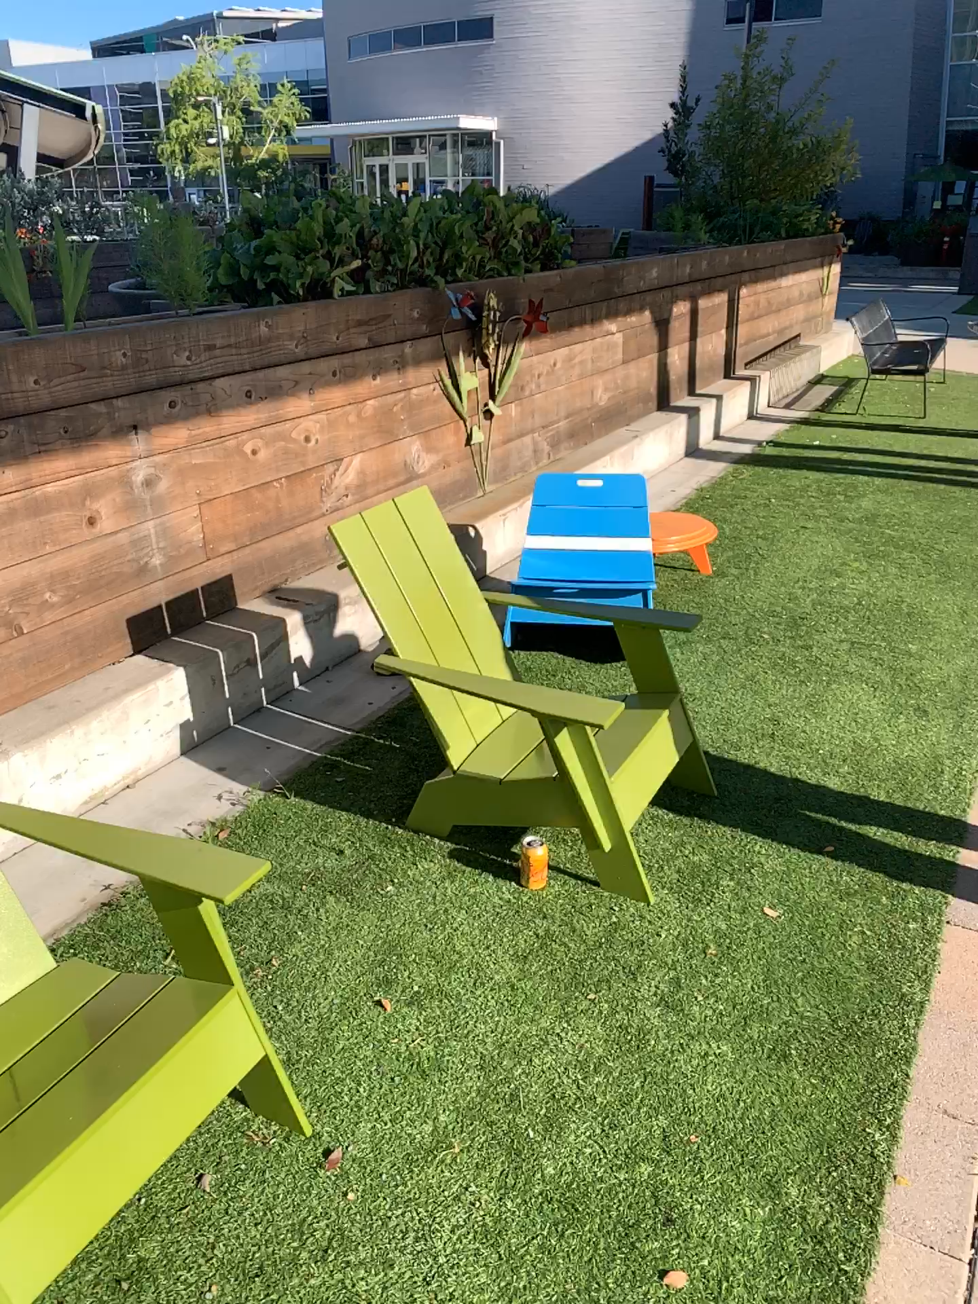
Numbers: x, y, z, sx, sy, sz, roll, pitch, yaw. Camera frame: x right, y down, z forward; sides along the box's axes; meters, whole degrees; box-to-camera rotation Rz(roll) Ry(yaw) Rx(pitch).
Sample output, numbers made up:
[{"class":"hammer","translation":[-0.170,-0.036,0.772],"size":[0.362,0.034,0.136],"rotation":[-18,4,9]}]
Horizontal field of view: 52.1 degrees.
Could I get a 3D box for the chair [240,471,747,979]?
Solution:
[{"class":"chair","translation":[0.038,0.100,2.721],"size":[1.002,0.895,0.853],"rotation":[13,27,27]}]
